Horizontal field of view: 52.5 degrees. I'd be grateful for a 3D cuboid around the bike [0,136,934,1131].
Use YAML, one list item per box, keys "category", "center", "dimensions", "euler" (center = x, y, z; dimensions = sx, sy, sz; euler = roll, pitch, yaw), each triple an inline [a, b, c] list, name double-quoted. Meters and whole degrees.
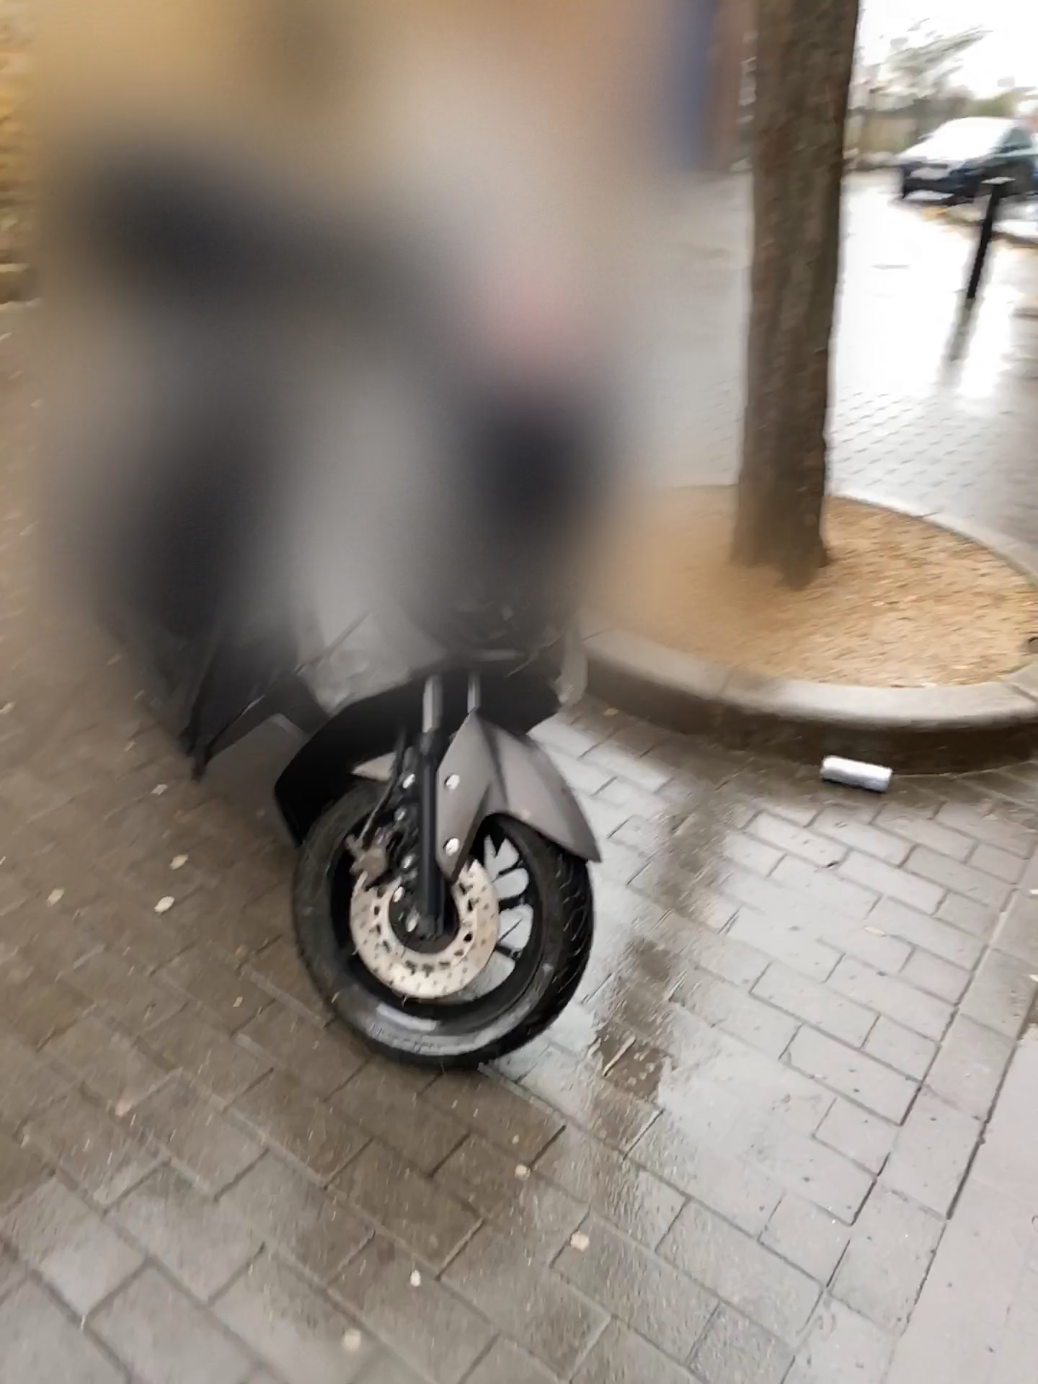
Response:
- category: "bike"
  center: [-0.320, -0.340, 2.018]
  dimensions: [0.760, 1.122, 1.737]
  euler: [-19, 37, -35]
